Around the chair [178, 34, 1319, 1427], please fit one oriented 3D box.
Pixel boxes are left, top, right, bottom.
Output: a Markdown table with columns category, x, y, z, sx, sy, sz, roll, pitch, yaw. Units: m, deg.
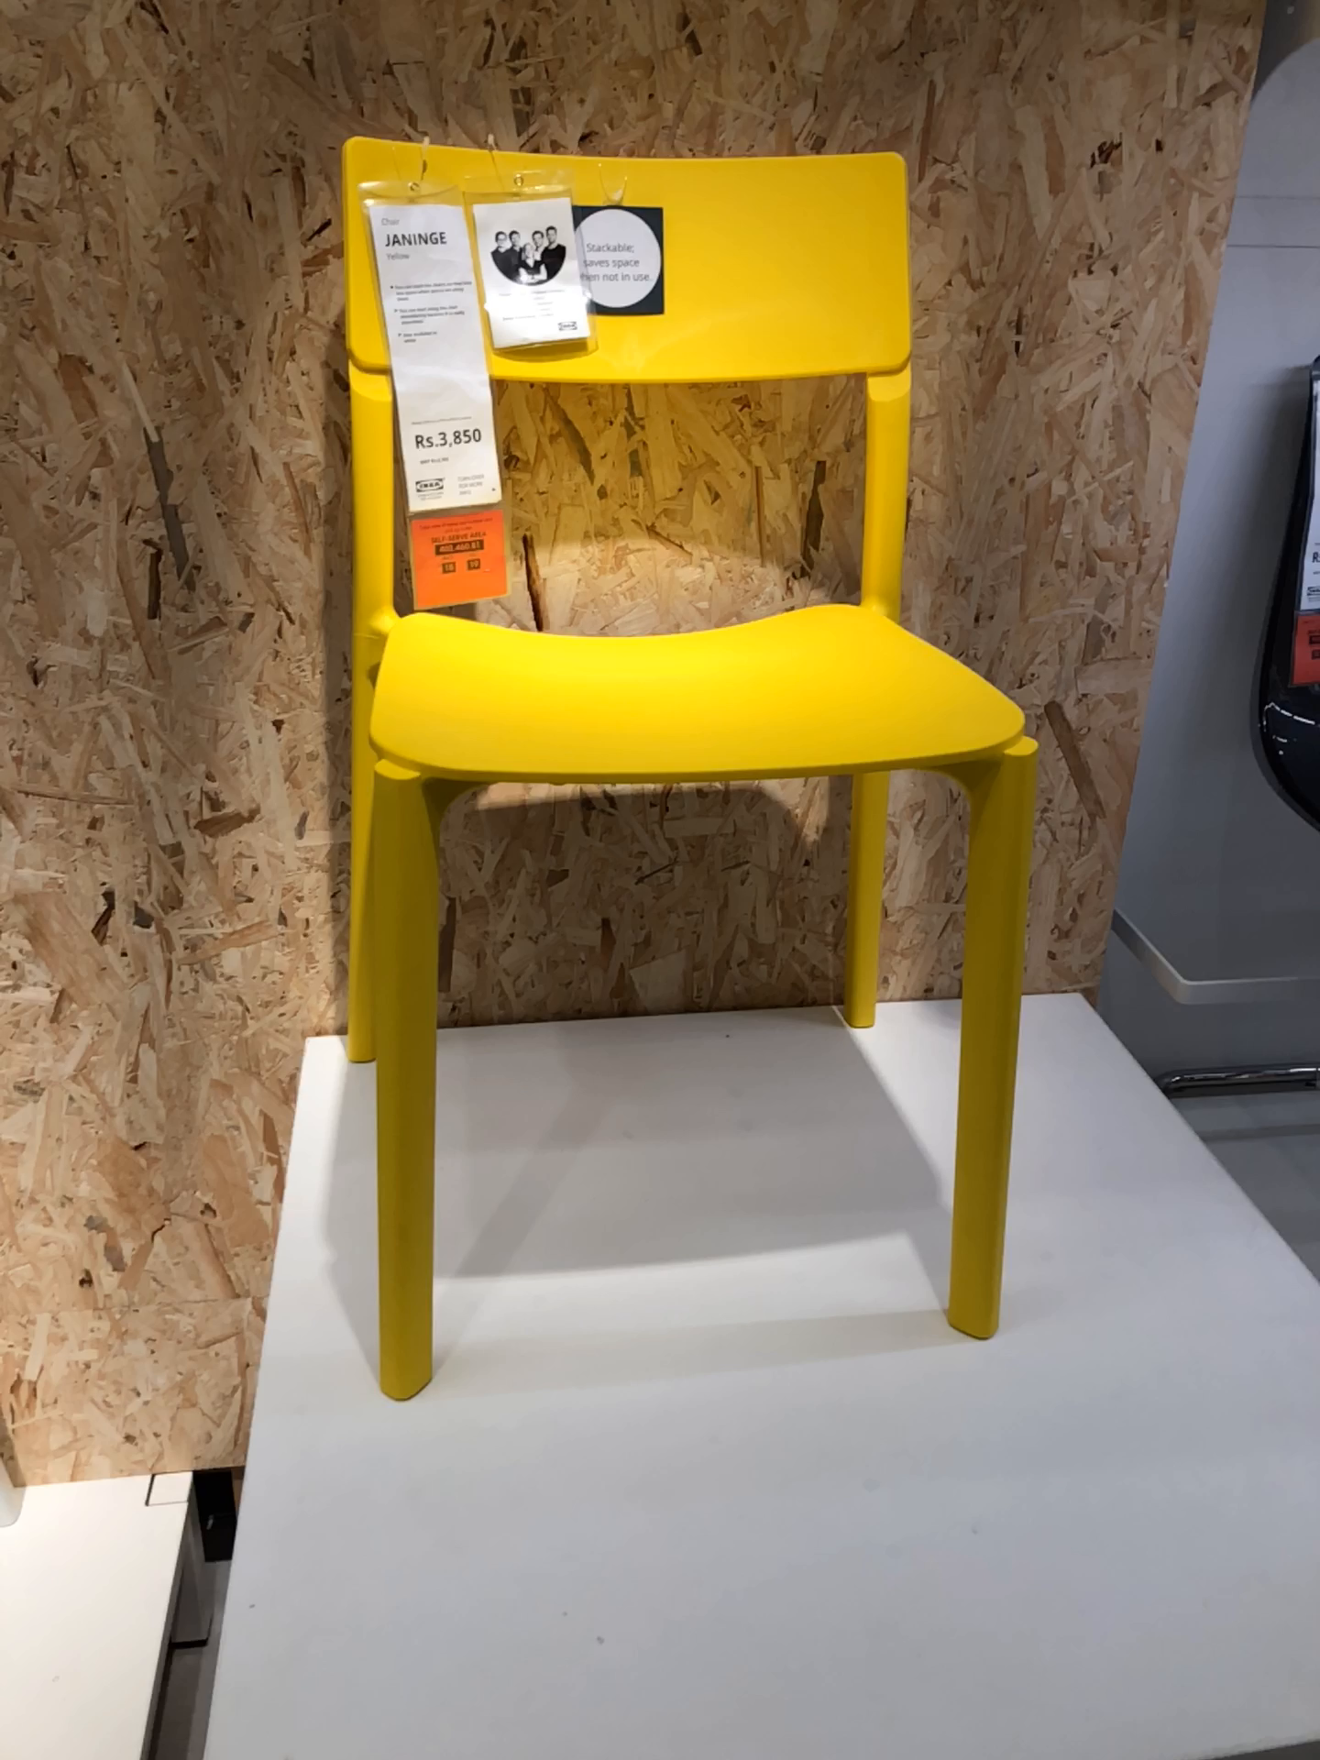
| category | x | y | z | sx | sy | sz | roll | pitch | yaw |
| --- | --- | --- | --- | --- | --- | --- | --- | --- | --- |
| chair | 0.004 | -0.112 | 0.912 | 0.460 | 0.676 | 0.463 | -3 | 25 | -10 |
